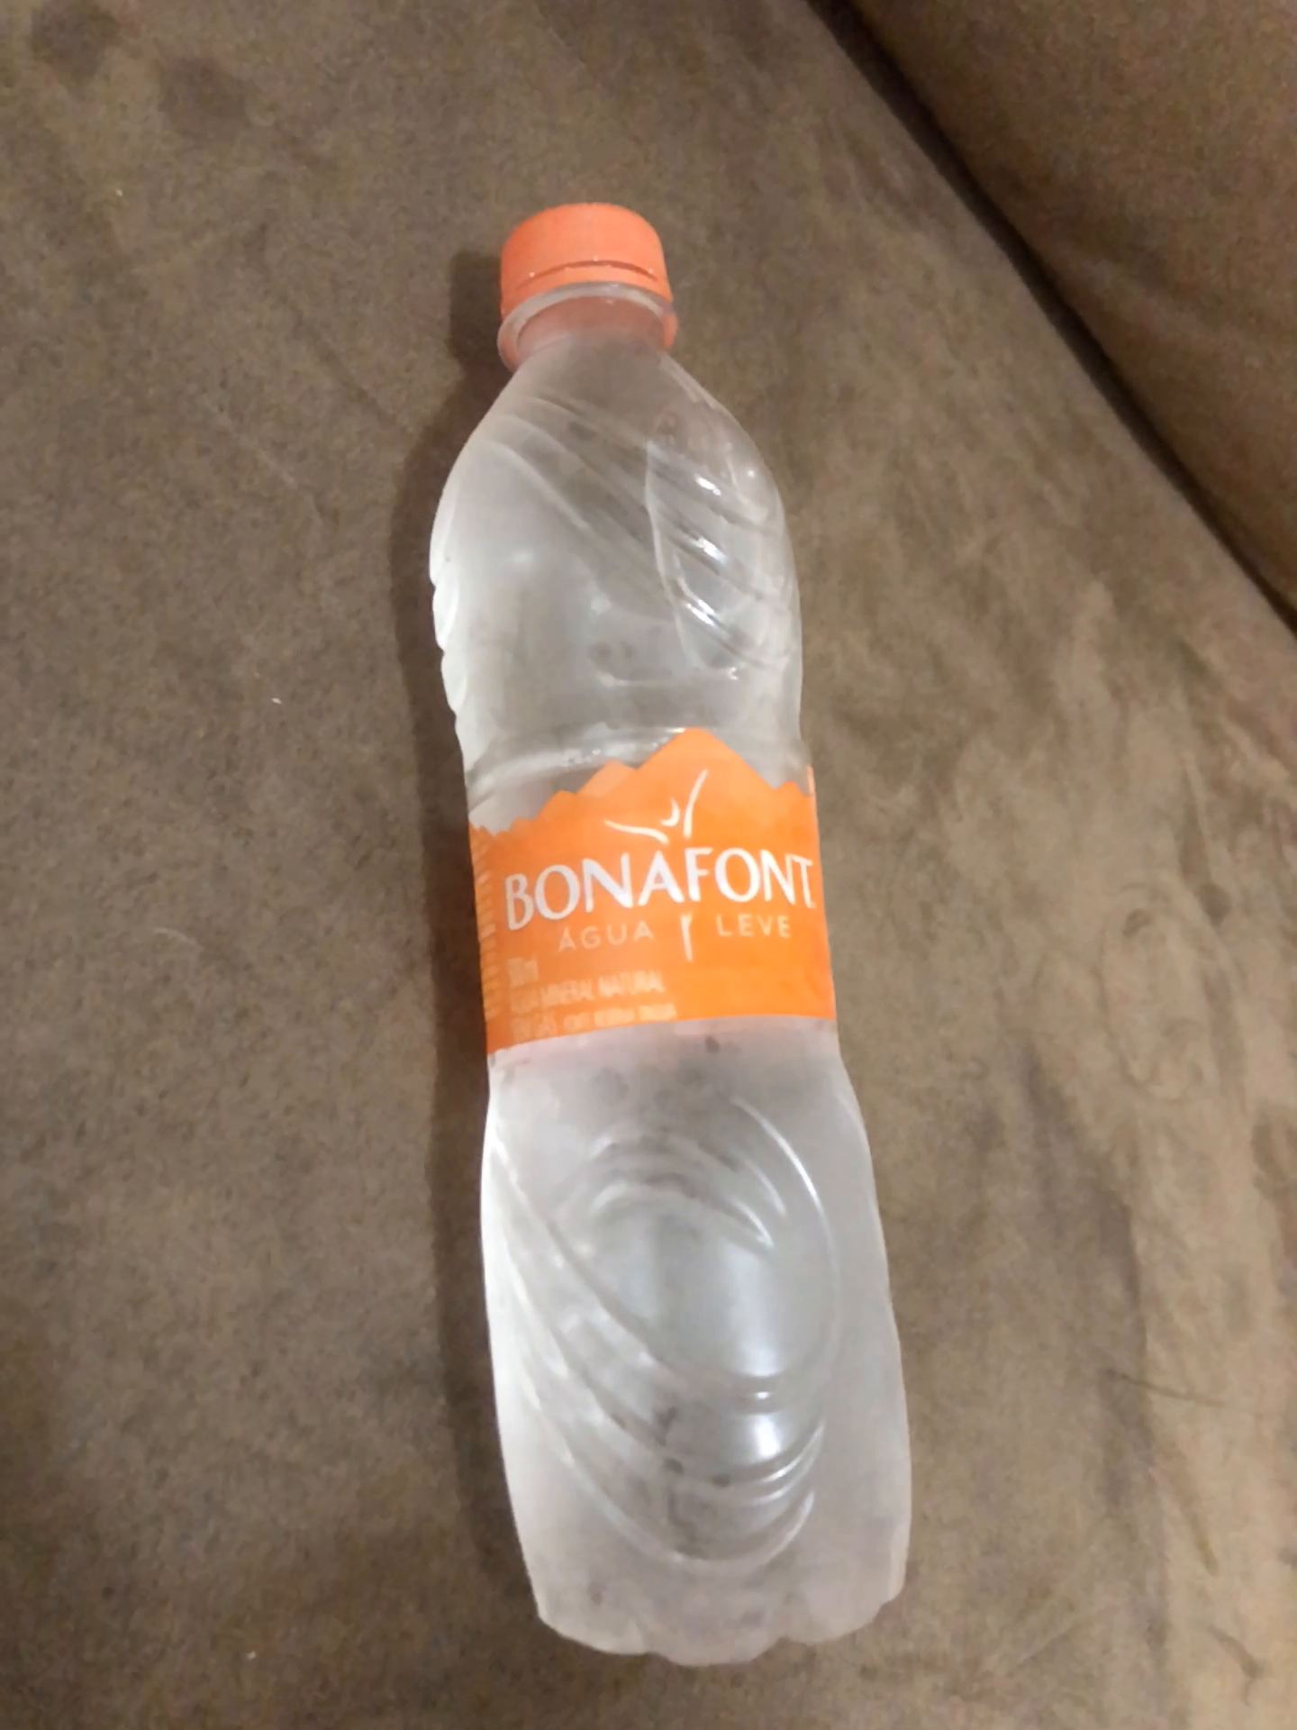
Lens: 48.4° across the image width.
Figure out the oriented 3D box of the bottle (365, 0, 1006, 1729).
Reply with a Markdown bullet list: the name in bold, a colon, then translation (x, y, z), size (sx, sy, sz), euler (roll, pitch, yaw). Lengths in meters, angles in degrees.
- **bottle**: translation (0.003, -0.007, 0.236), size (0.070, 0.050, 0.240), euler (7, 74, -46)
